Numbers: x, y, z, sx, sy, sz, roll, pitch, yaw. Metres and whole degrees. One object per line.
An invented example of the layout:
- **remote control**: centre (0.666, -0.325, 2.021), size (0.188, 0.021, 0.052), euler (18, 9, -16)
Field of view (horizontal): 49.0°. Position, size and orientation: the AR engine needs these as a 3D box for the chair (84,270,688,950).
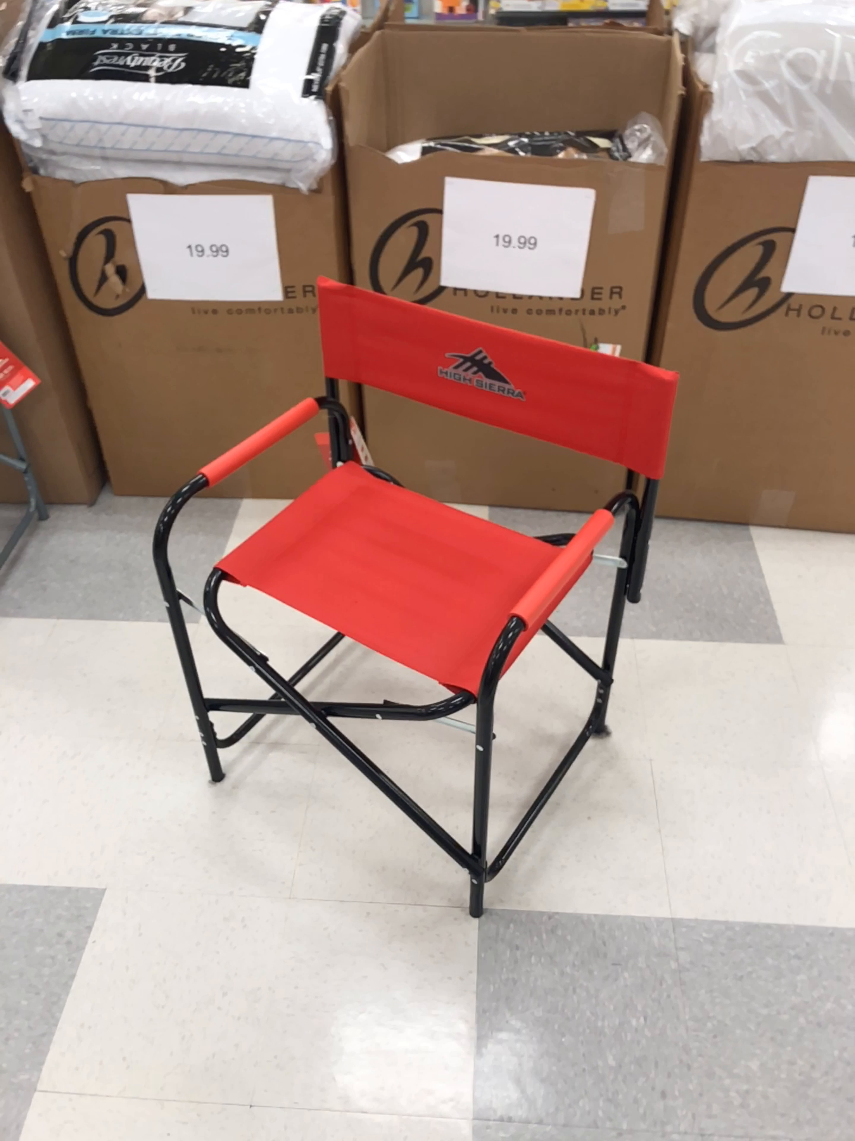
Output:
- **chair**: centre (-0.034, 0.046, 1.427), size (0.593, 0.729, 0.491), euler (22, 47, 25)
